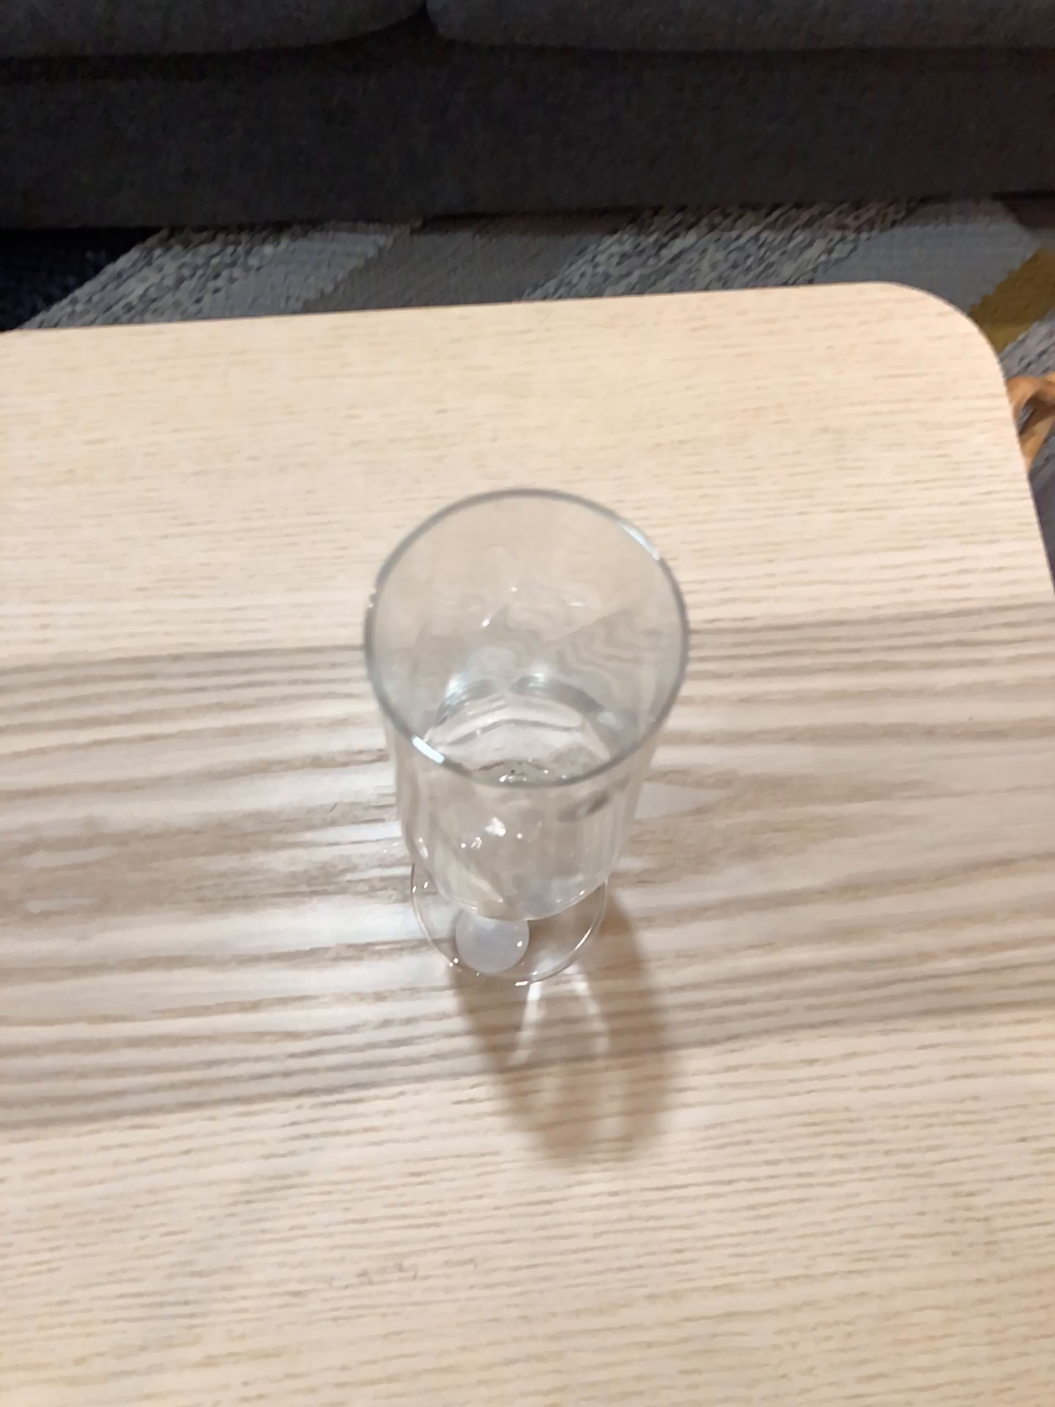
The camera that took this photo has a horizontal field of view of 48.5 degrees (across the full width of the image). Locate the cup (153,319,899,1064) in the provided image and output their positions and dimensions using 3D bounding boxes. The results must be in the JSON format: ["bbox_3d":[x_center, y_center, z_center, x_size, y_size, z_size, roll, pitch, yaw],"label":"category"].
[{"bbox_3d":[-0.003,0.028,0.291,0.080,0.240,0.080,0,72,-1],"label":"cup"}]
